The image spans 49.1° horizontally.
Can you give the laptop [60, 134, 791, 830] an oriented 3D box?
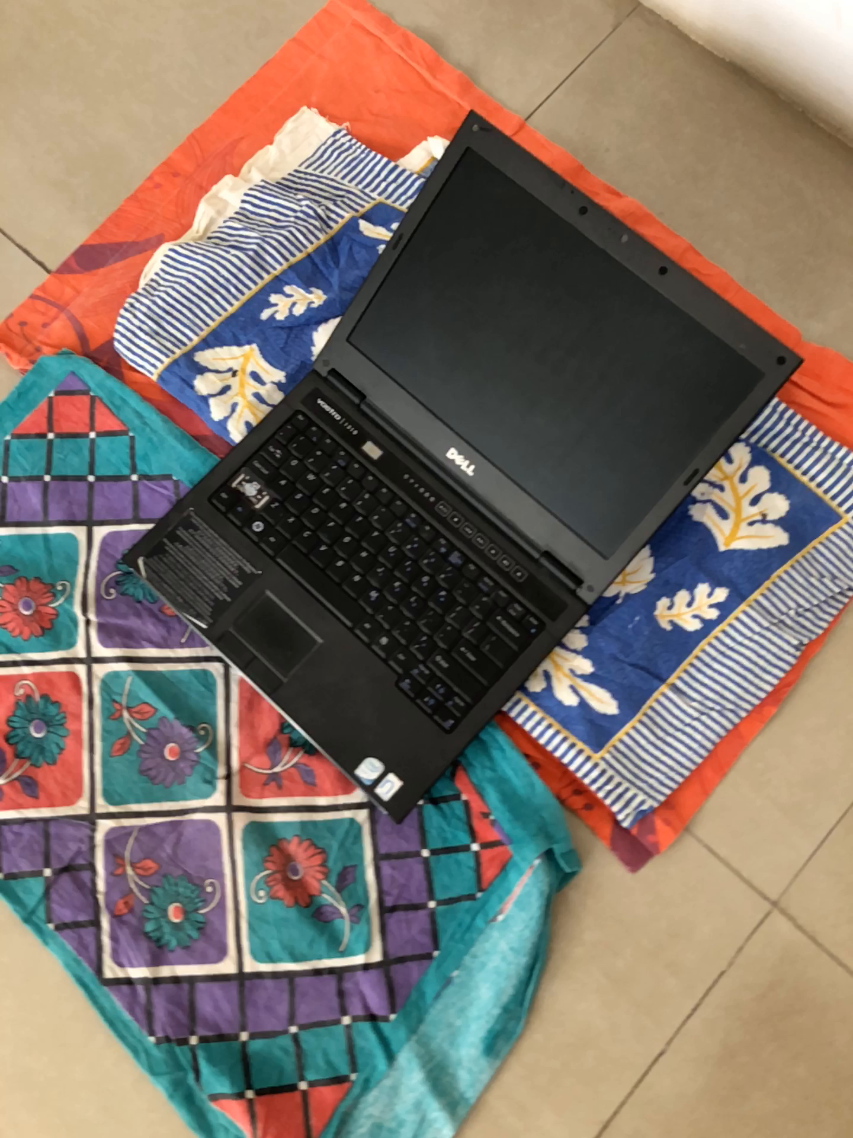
[{"bbox_3d":[0.006,-0.071,0.710,0.305,0.125,0.420,41,79,11],"label":"laptop"}]
